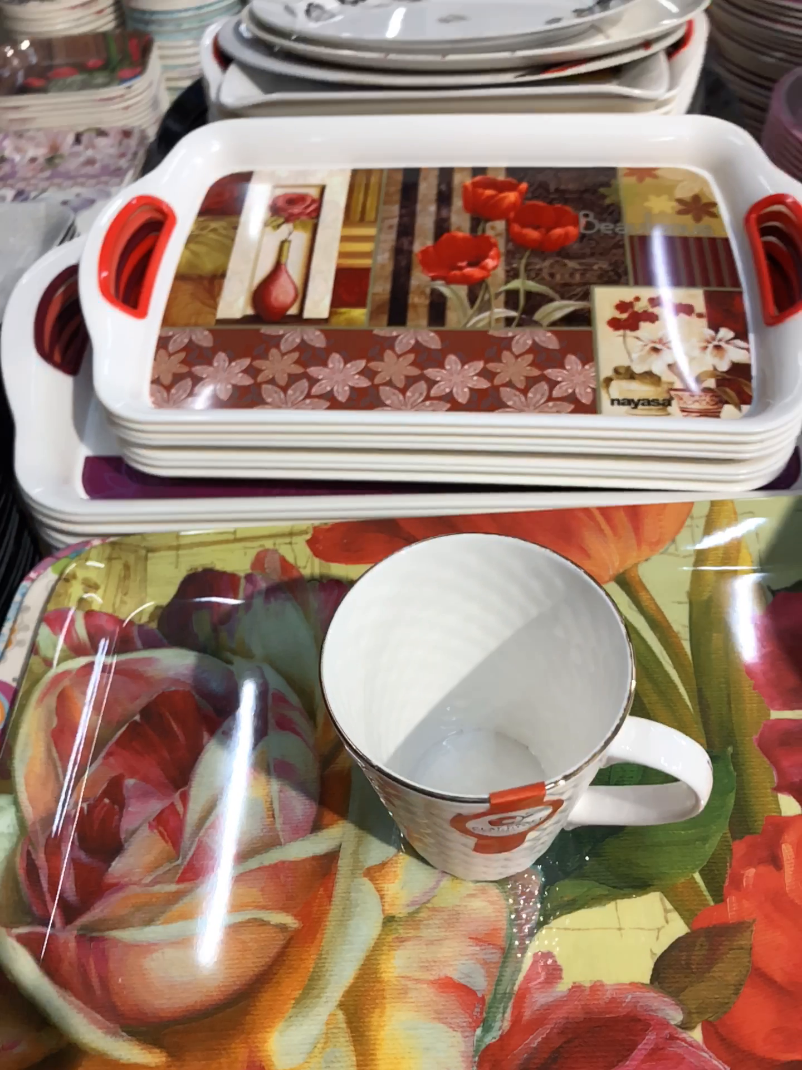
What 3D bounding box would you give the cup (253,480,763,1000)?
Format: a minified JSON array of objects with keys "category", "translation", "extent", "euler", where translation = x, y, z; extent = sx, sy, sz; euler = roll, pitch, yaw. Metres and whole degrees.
[{"category":"cup","translation":[0.037,0.060,0.280],"extent":[0.120,0.089,0.101],"euler":[12,49,14]}]
